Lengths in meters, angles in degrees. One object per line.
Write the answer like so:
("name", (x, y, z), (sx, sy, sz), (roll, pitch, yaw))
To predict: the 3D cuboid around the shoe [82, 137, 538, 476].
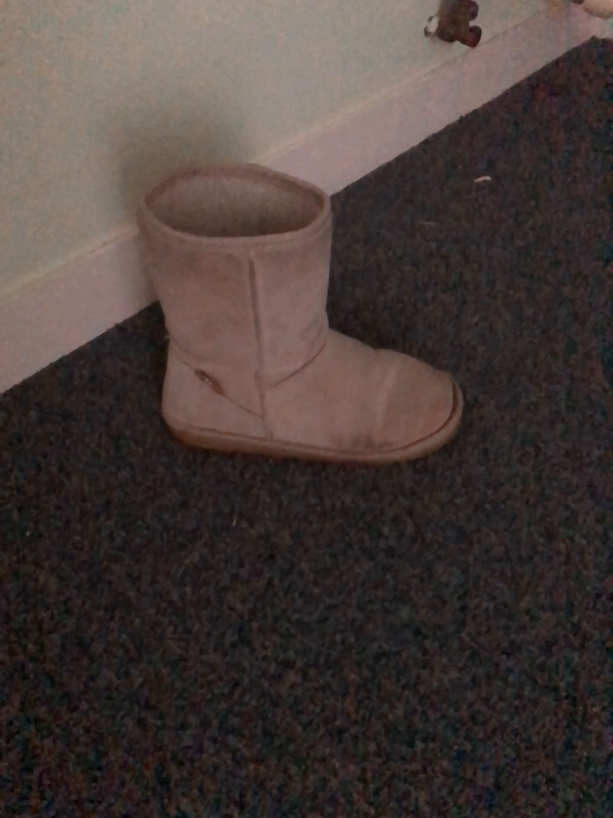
("shoe", (0.005, -0.071, 0.513), (0.270, 0.209, 0.121), (5, 49, 4))
